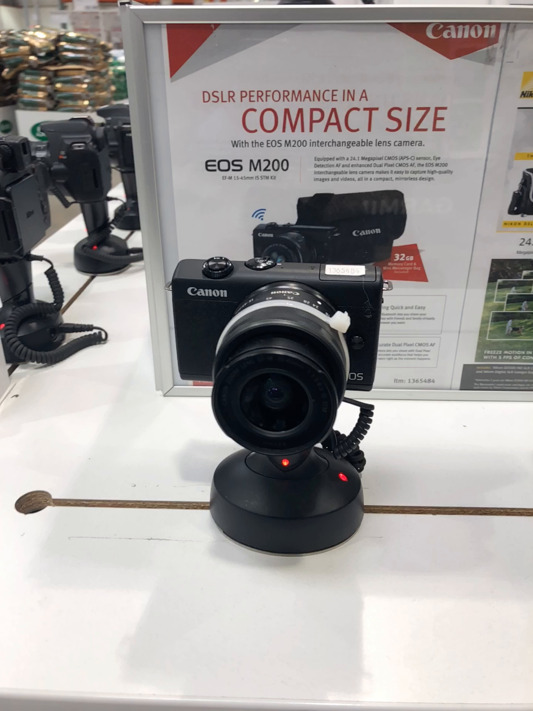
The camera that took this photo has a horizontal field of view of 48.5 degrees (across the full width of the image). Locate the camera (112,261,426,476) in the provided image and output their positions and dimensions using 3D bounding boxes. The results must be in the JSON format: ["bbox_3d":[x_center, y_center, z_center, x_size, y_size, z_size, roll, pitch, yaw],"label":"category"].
[{"bbox_3d":[0.005,-0.002,0.289,0.120,0.050,0.120,2,26,5],"label":"camera"}]
